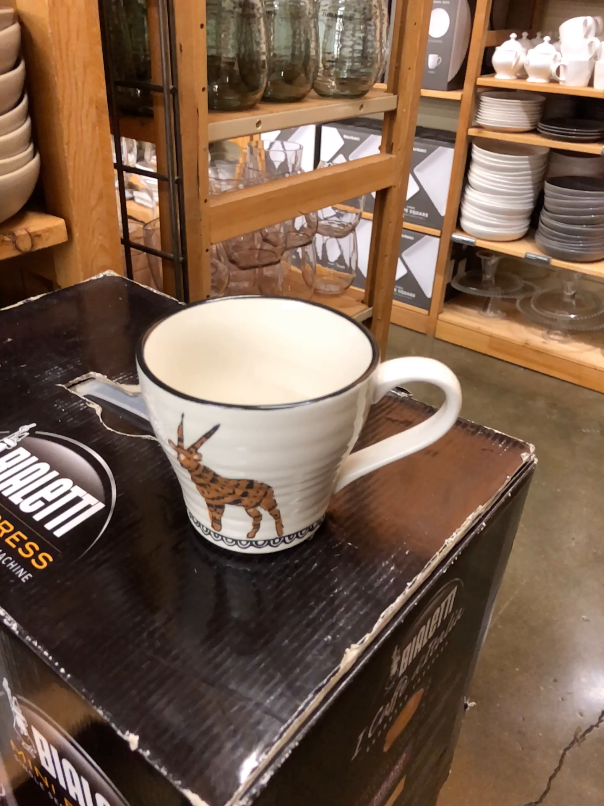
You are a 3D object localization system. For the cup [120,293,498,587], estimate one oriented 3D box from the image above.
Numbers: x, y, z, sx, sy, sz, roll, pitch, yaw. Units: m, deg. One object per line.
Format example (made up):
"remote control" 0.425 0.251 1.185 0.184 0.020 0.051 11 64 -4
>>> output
"cup" -0.002 0.011 0.294 0.130 0.084 0.102 0 31 -5
